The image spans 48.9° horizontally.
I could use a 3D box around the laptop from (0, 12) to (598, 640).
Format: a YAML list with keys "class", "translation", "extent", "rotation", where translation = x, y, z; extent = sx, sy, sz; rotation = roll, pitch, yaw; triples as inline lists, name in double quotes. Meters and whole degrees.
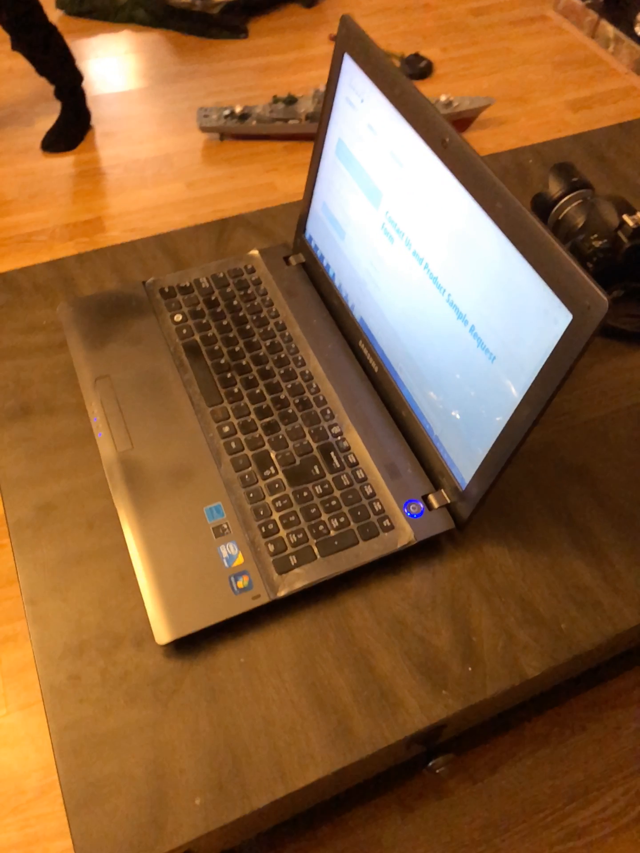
- class: "laptop"
  translation: [-0.052, -0.100, 0.563]
  extent: [0.308, 0.231, 0.369]
  rotation: [-19, 58, -15]
